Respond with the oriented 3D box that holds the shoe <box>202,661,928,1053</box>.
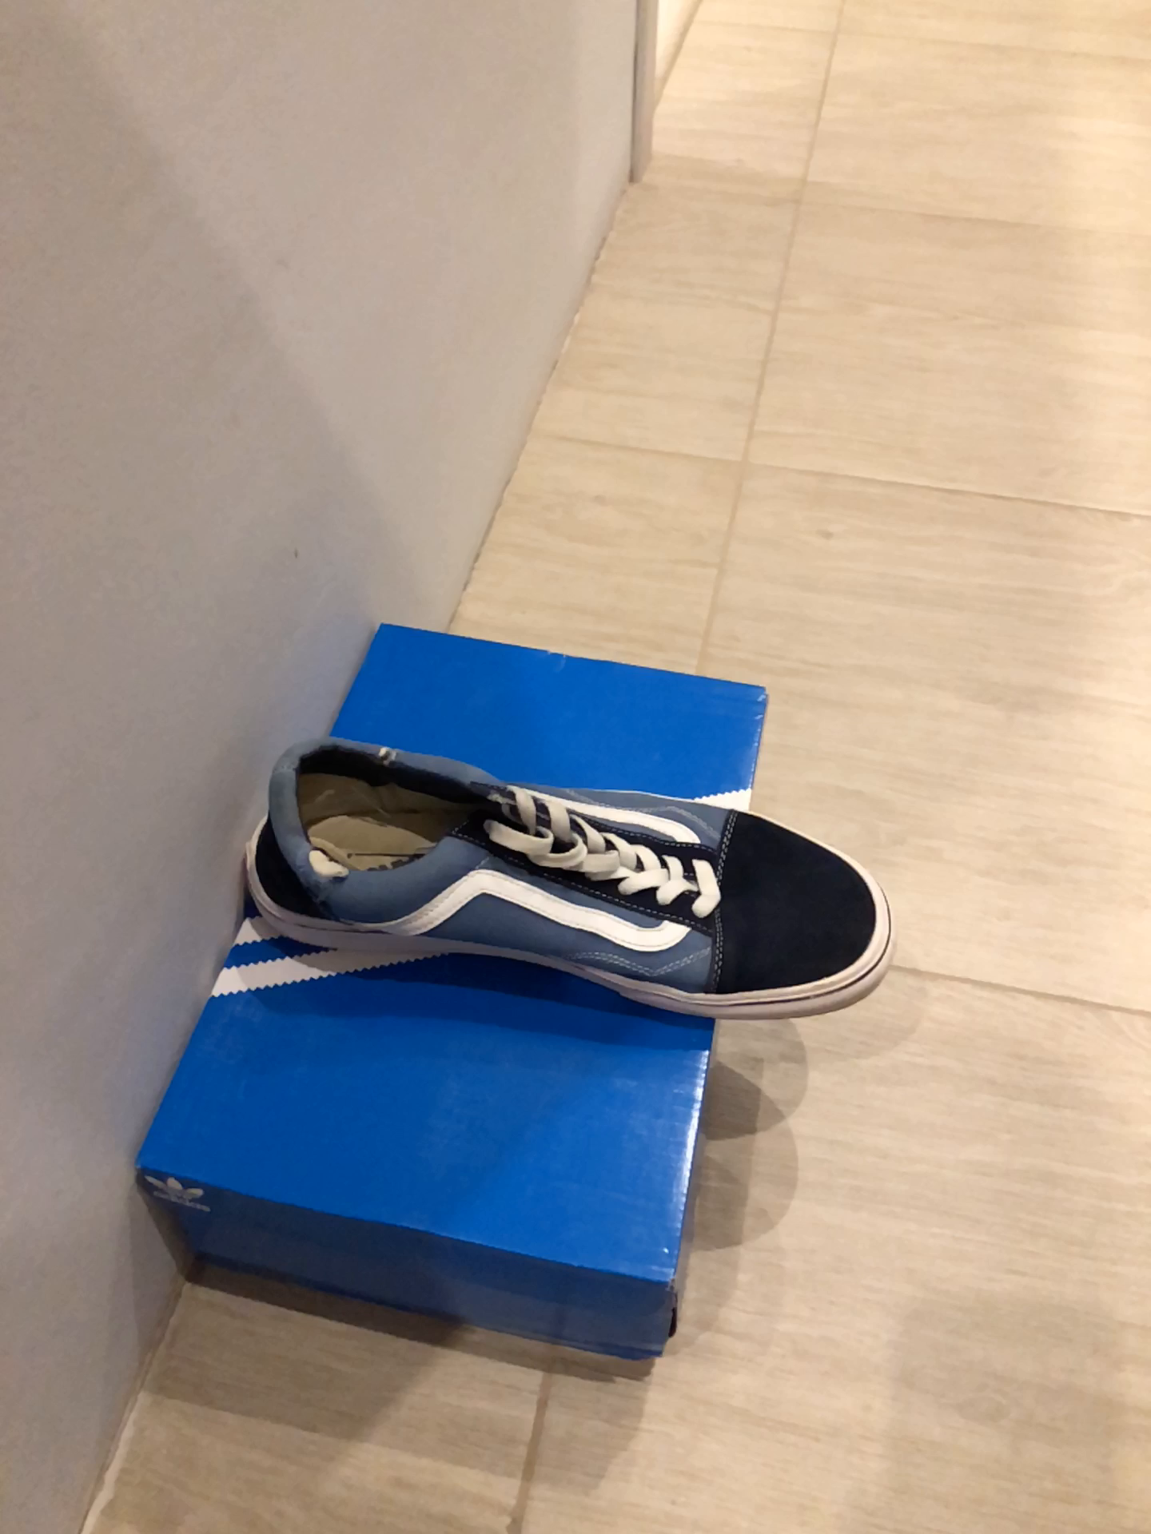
[{"bbox_3d":[0.000,0.036,0.545,0.280,0.079,0.111,7,50,5],"label":"shoe"}]
